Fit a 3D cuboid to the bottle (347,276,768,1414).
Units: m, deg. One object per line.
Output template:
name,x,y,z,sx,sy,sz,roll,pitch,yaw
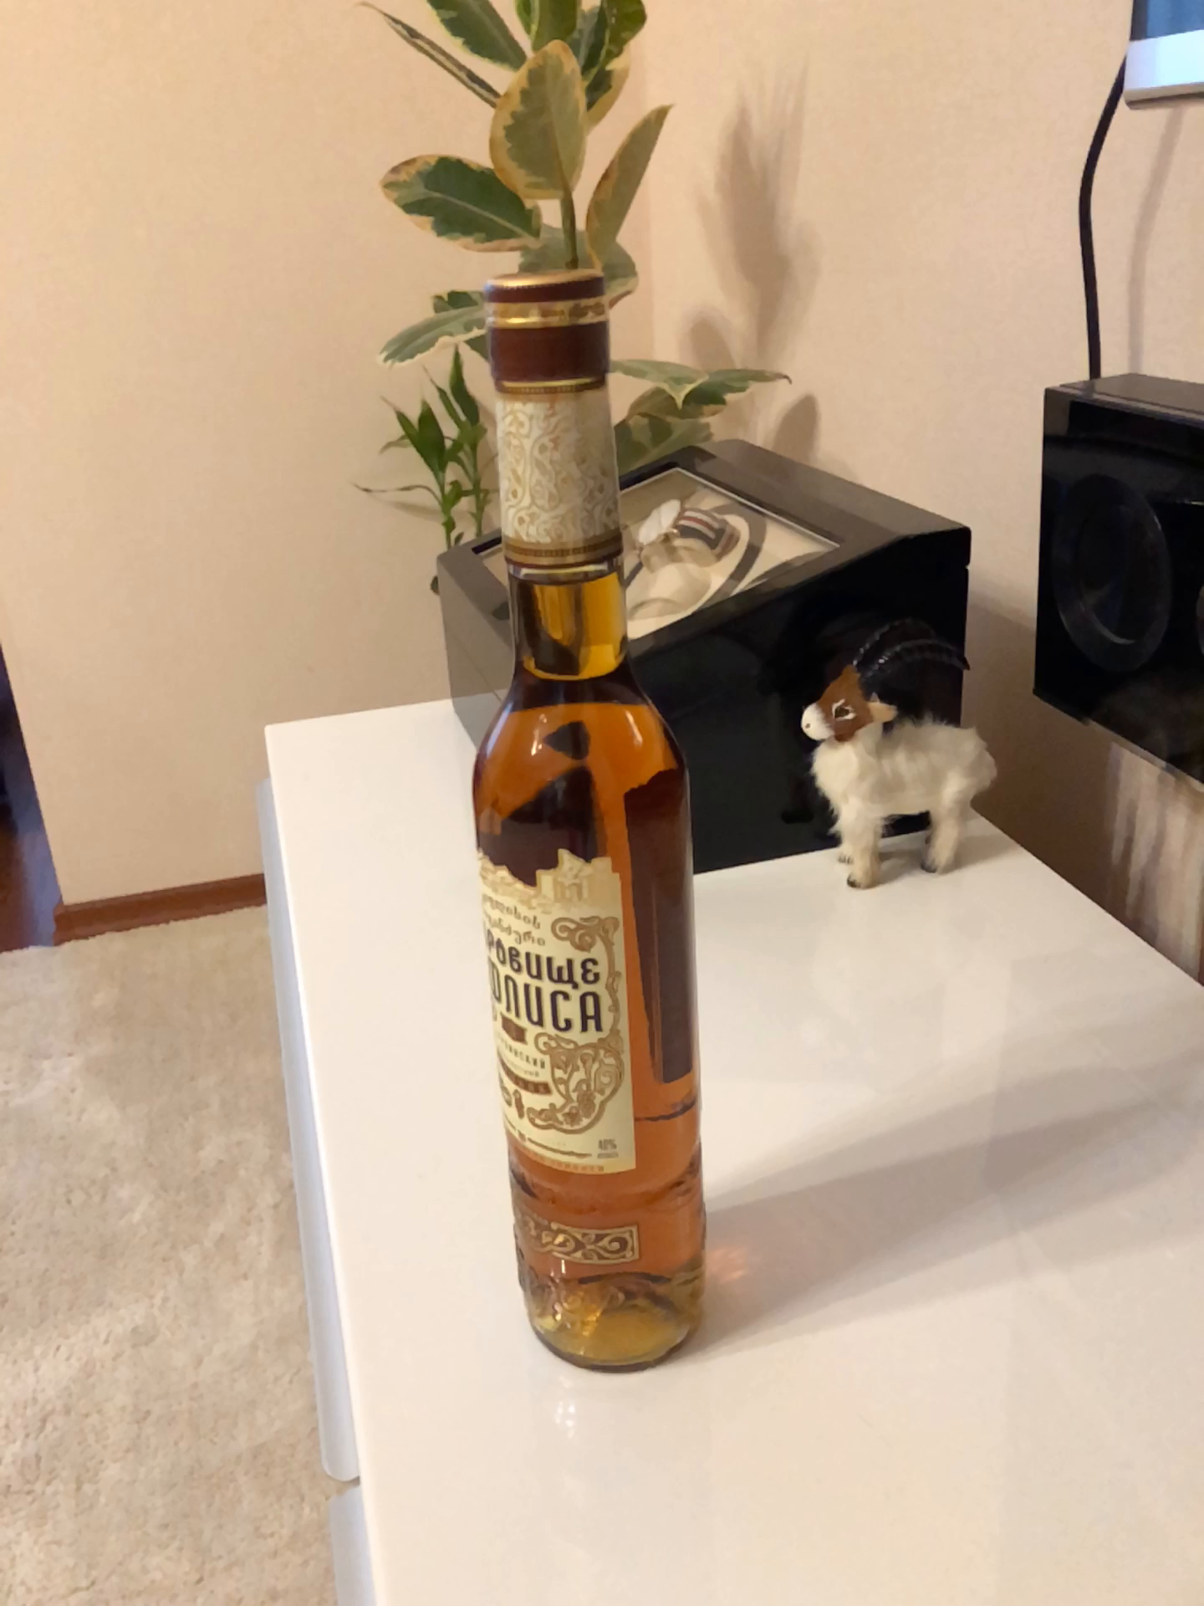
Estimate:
bottle,-0.003,0.019,0.373,0.070,0.308,0.070,-3,24,1
